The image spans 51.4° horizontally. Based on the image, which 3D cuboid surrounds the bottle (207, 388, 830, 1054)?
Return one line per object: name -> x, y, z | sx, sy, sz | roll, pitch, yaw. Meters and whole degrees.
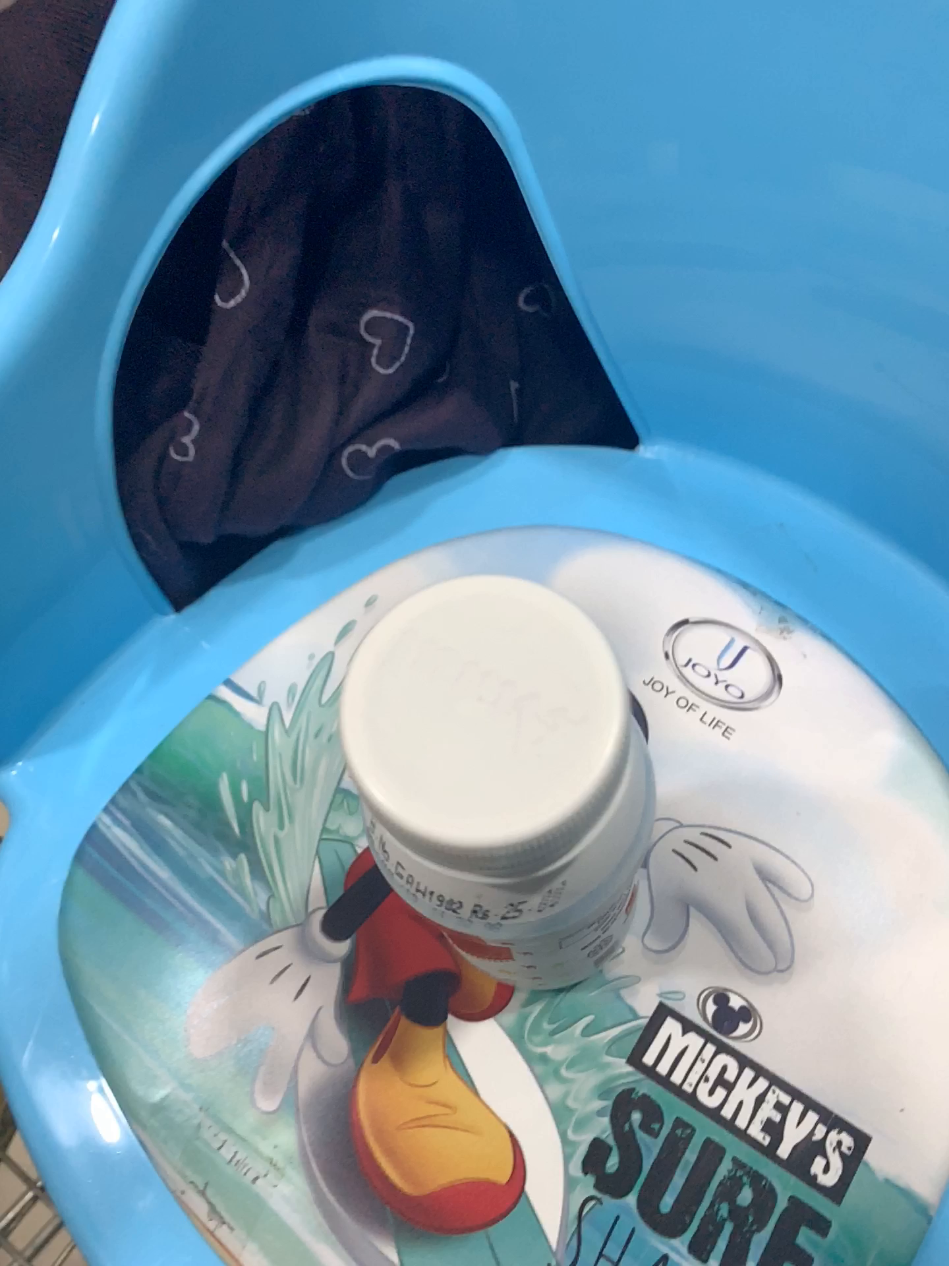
bottle -> 0.010, 0.030, 0.191 | 0.060, 0.130, 0.060 | -2, 62, 4
